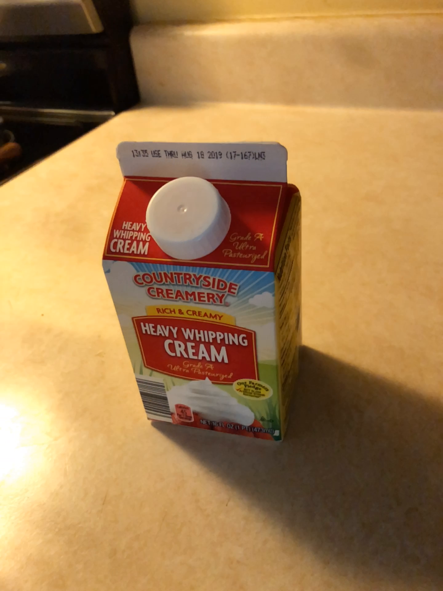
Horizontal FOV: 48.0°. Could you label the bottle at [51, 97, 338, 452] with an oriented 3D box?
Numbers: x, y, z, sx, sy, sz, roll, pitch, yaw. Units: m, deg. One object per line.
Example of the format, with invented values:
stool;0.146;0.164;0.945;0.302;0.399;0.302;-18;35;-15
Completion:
bottle;0.002;-0.012;0.233;0.090;0.130;0.090;-5;36;3
